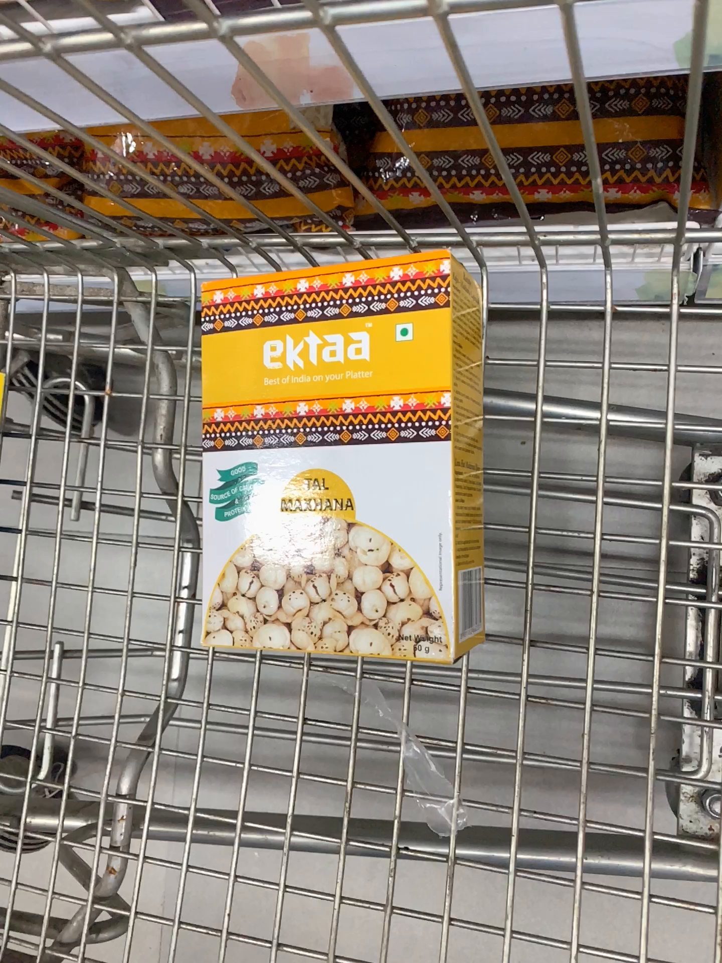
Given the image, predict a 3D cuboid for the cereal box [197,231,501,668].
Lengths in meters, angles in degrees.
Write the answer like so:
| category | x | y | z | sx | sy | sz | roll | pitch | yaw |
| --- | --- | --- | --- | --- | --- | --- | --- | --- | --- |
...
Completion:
| category | x | y | z | sx | sy | sz | roll | pitch | yaw |
| --- | --- | --- | --- | --- | --- | --- | --- | --- | --- |
| cereal box | -0.005 | -0.012 | 0.361 | 0.130 | 0.070 | 0.180 | -1 | 89 | 23 |
